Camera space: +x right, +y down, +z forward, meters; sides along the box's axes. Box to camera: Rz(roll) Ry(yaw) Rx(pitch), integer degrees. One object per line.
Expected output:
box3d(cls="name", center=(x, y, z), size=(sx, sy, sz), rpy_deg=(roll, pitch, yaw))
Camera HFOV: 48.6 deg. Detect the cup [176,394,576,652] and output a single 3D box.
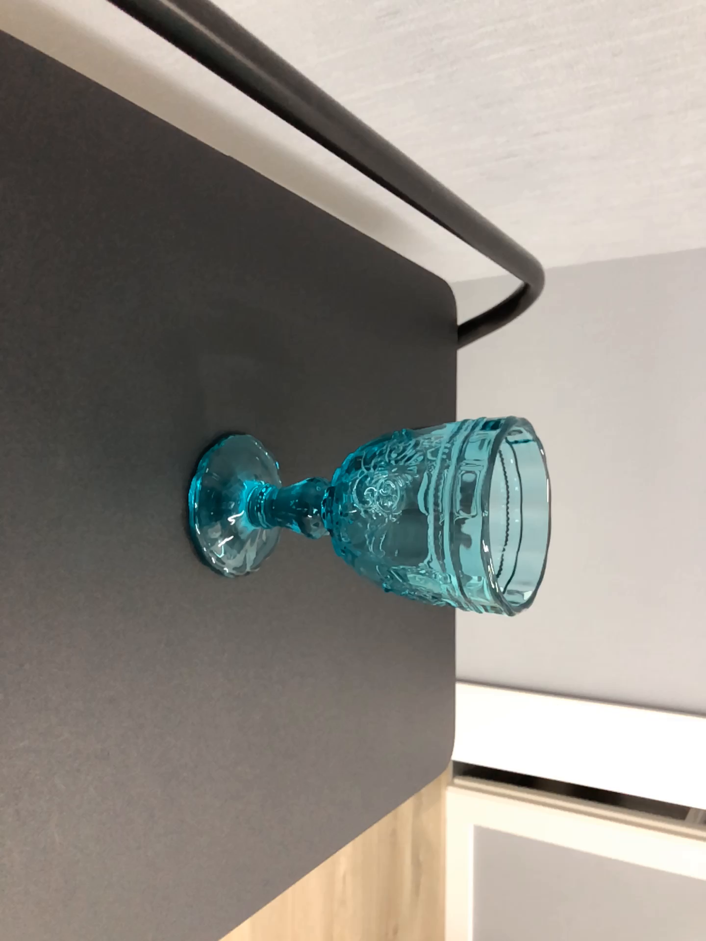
box3d(cls="cup", center=(0.010, 0.022, 0.366), size=(0.085, 0.164, 0.095), rpy_deg=(6, 85, -59))
